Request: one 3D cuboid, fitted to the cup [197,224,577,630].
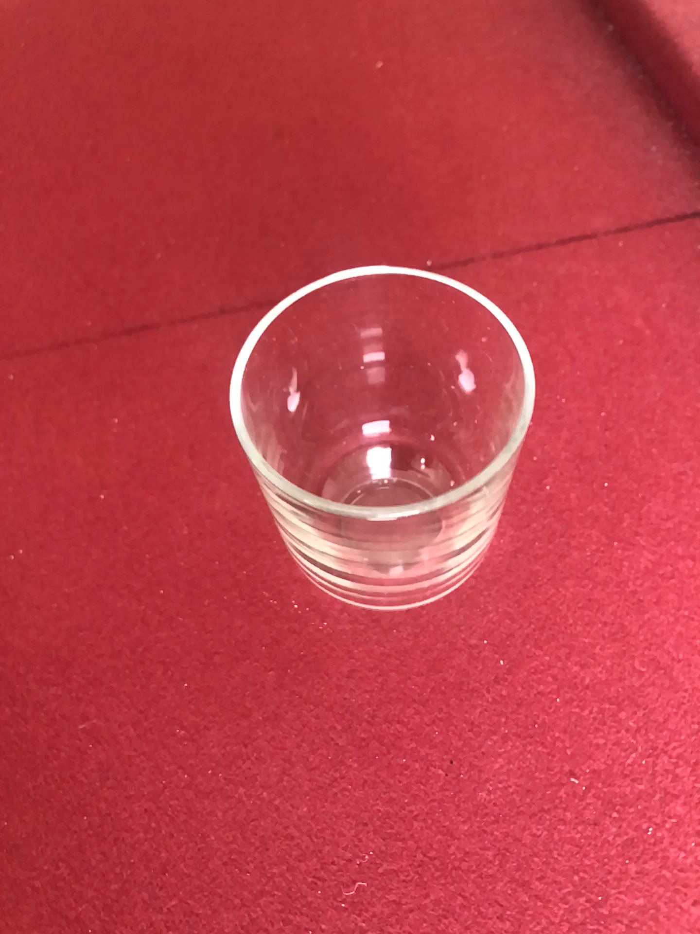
[{"bbox_3d":[0.008,-0.008,0.215,0.080,0.070,0.080,-2,59,3],"label":"cup"}]
